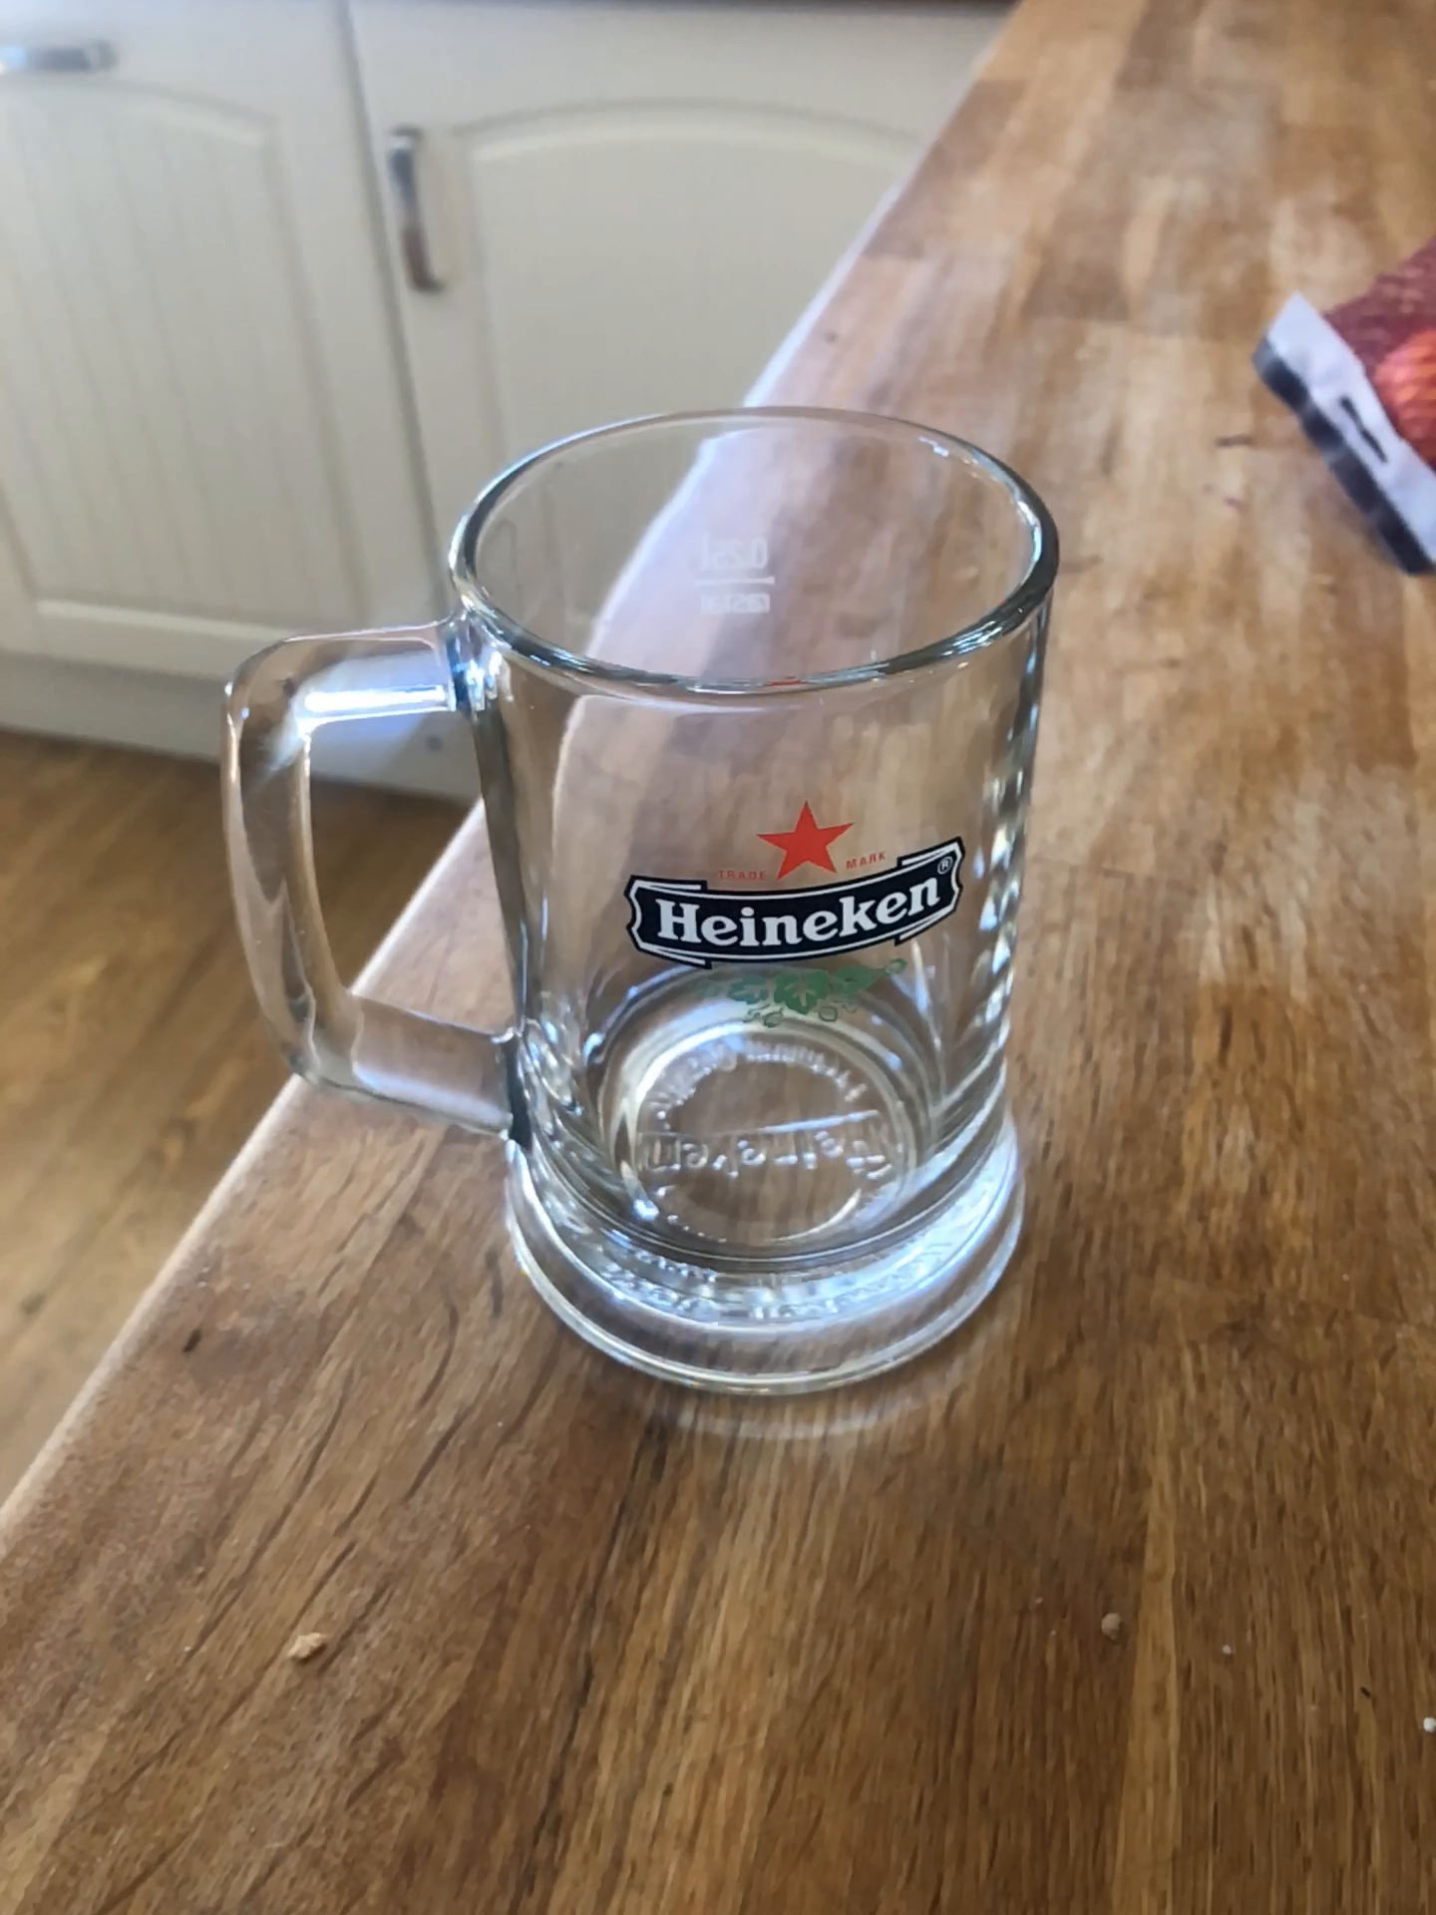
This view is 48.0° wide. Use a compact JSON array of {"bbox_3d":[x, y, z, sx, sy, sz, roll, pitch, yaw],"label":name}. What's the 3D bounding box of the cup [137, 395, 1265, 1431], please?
[{"bbox_3d":[-0.004,-0.008,0.233,0.114,0.109,0.092,-4,40,-4],"label":"cup"}]
